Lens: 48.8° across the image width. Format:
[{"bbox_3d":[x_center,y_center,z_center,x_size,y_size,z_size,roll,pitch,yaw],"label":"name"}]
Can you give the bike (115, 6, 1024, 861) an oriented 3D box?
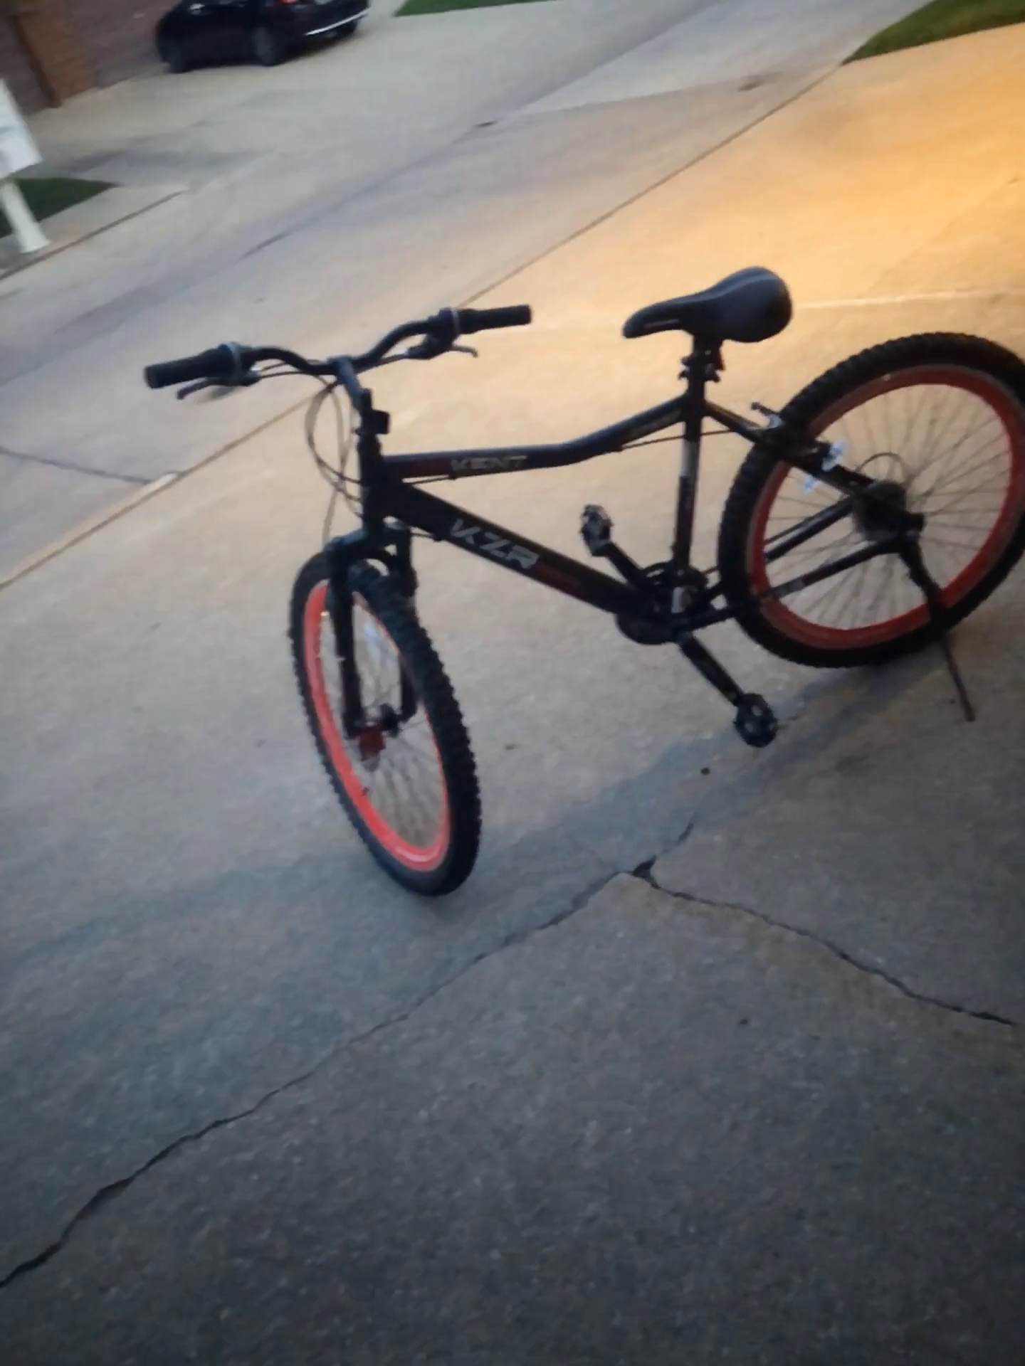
[{"bbox_3d":[0.224,-0.387,1.990,1.425,1.031,0.600,-15,33,7],"label":"bike"}]
